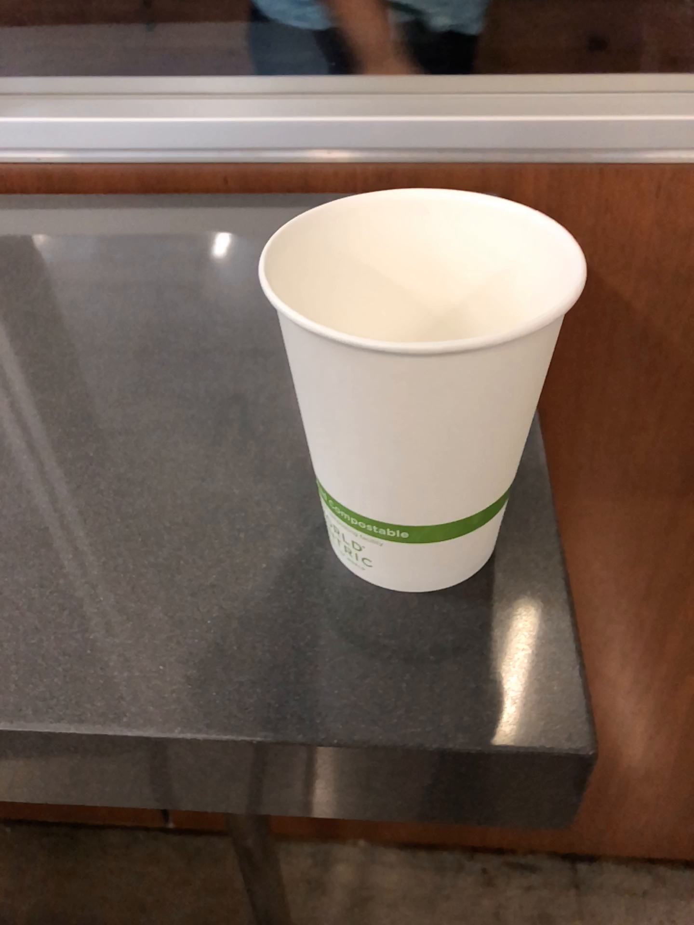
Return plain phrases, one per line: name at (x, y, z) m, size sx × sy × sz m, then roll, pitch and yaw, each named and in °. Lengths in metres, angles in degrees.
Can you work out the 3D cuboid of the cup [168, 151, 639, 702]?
cup at (0.016, -0.013, 0.239) m, size 0.090 × 0.119 × 0.080 m, roll -31°, pitch 49°, yaw -29°
